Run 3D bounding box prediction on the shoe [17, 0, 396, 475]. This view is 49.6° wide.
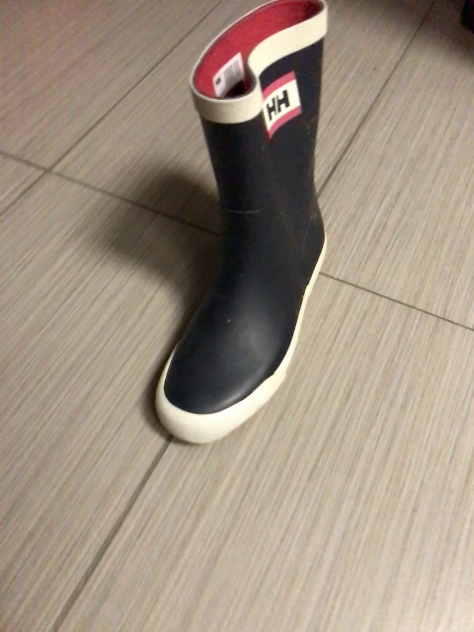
[{"bbox_3d":[0.012,-0.064,0.382,0.102,0.217,0.280,19,59,18],"label":"shoe"}]
